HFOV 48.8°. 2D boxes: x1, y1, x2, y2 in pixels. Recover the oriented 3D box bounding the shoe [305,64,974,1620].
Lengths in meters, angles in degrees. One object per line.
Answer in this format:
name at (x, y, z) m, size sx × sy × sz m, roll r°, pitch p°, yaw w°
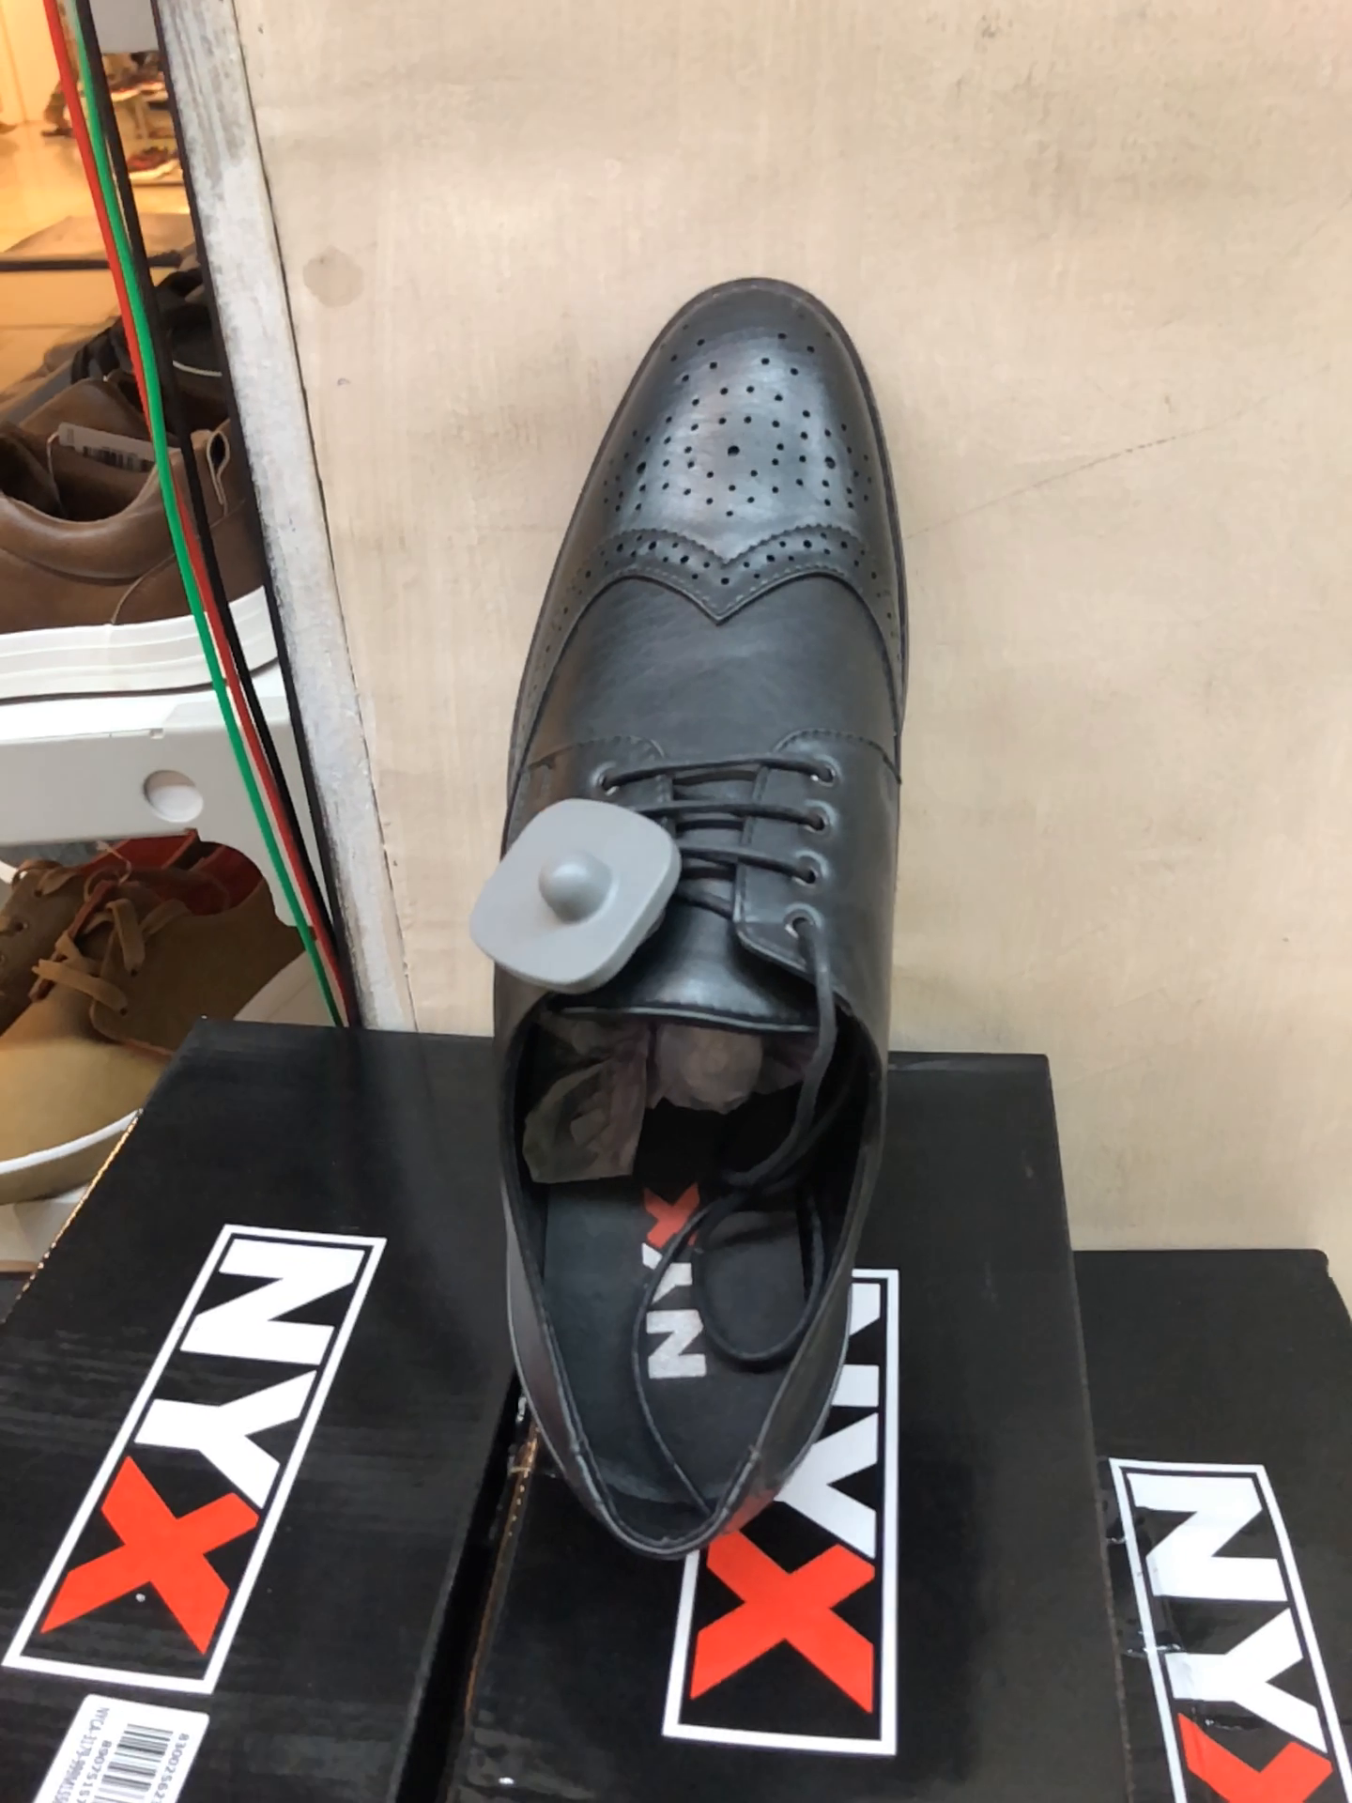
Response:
shoe at (0.001, -0.018, 0.338) m, size 0.106 × 0.298 × 0.106 m, roll 3°, pitch -8°, yaw 5°
